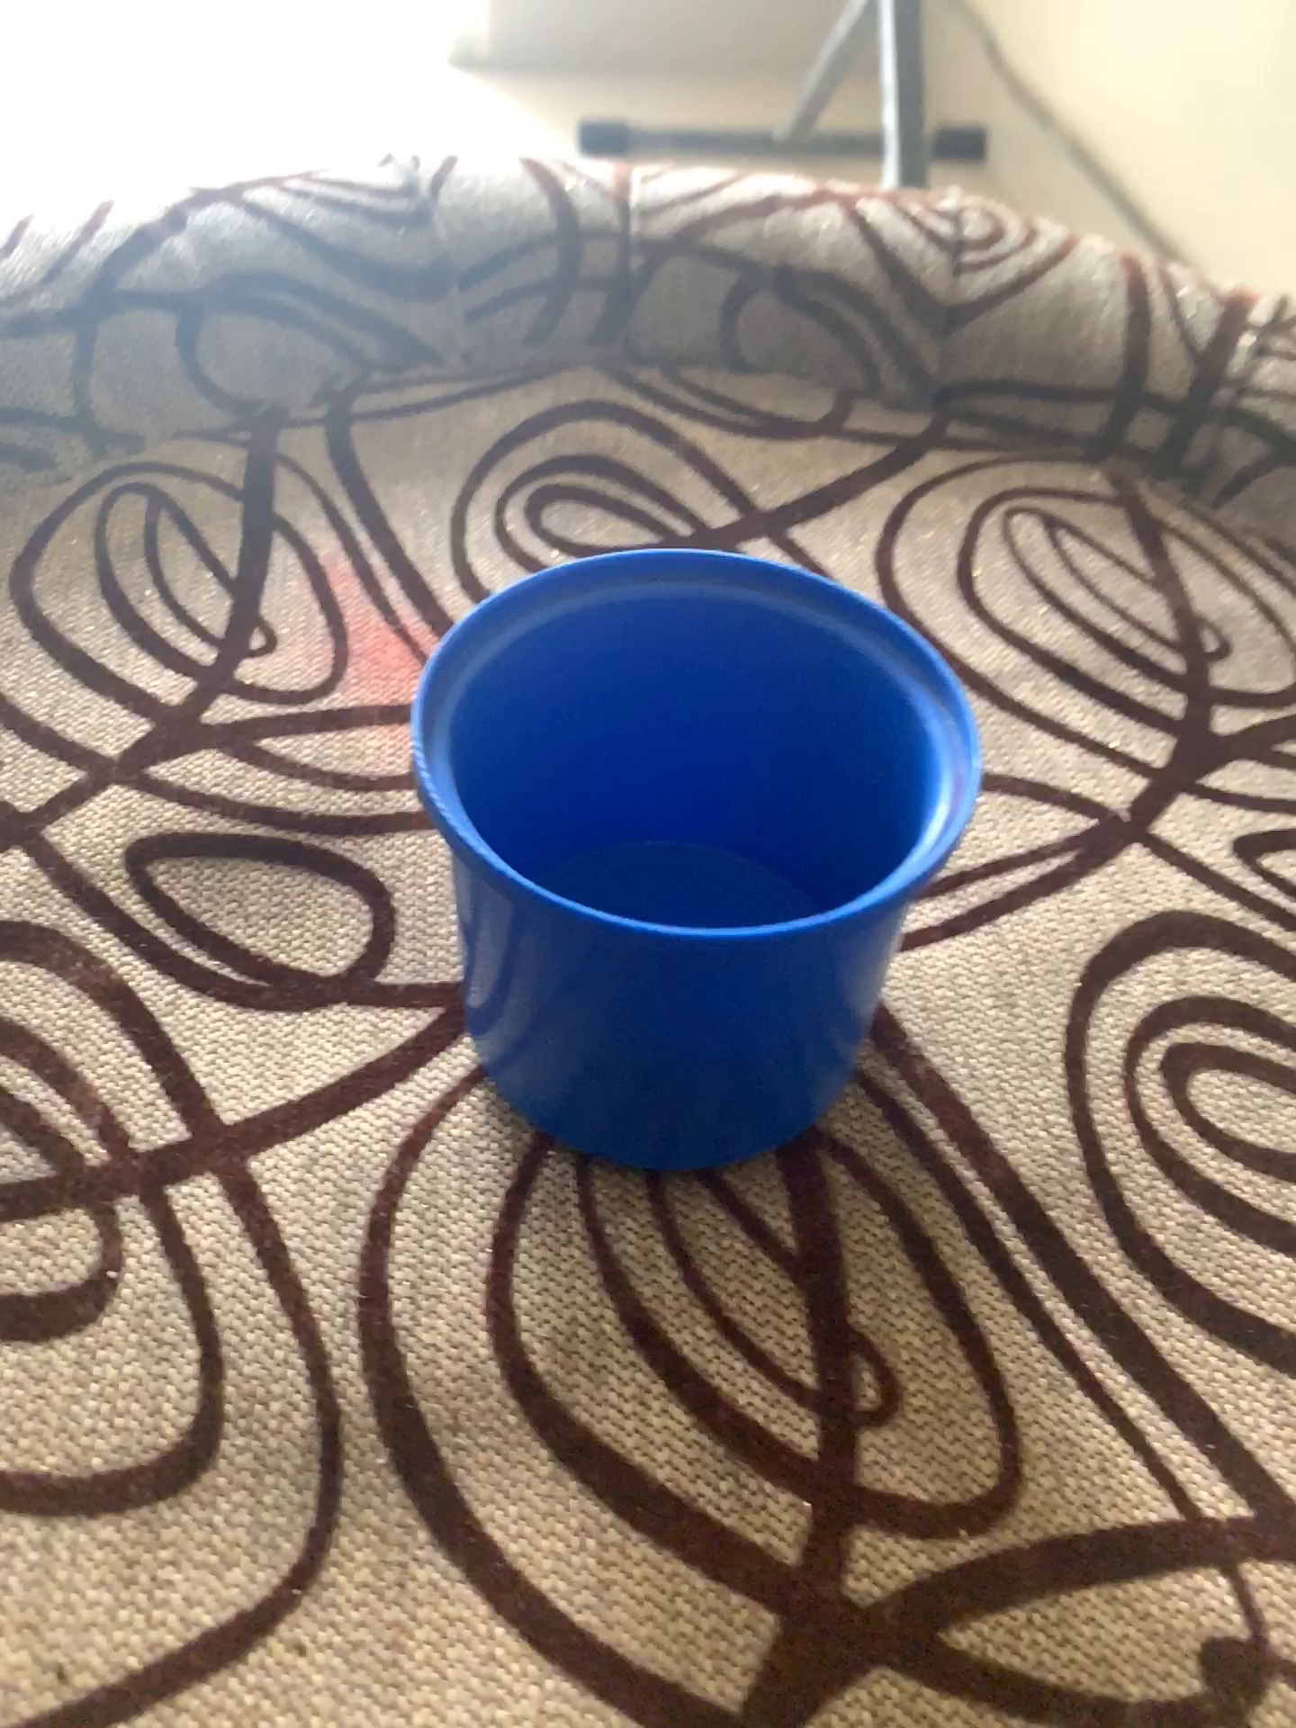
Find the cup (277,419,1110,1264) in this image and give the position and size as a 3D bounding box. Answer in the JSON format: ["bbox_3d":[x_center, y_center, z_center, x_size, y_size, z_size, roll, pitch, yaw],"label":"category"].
[{"bbox_3d":[0.005,-0.007,0.209,0.080,0.070,0.080,2,49,-2],"label":"cup"}]
